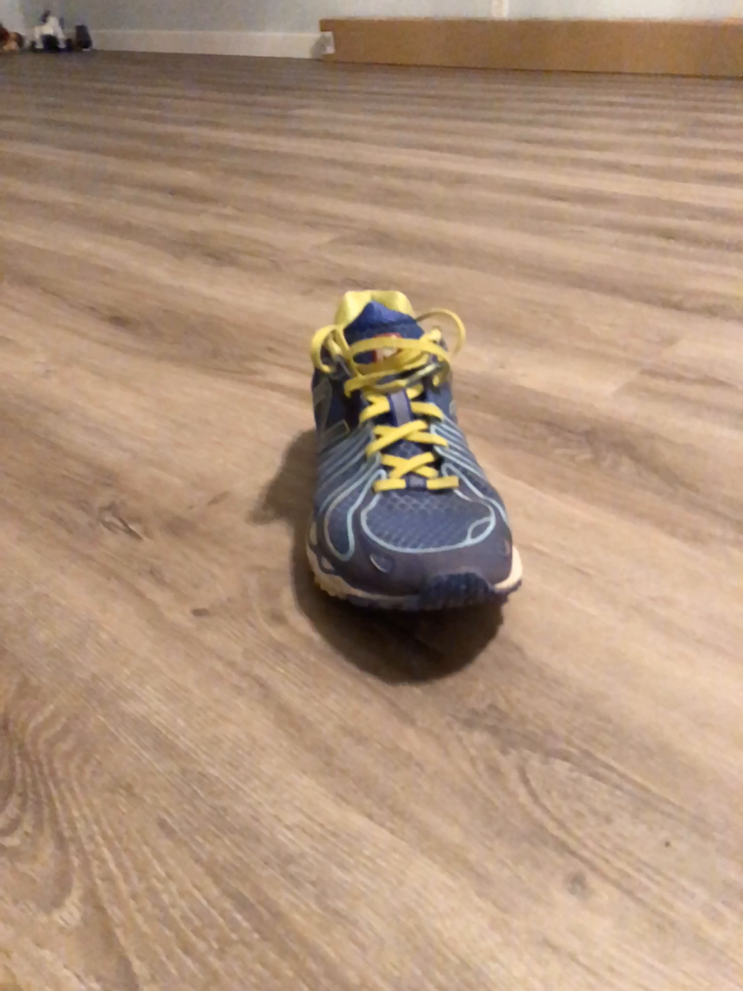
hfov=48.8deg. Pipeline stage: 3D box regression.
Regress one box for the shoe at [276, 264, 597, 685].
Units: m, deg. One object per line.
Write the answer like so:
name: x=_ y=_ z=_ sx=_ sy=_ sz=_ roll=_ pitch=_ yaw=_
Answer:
shoe: x=0.013 y=-0.033 z=0.426 sx=0.110 sy=0.099 sz=0.251 roll=-5 pitch=31 yaw=-6
